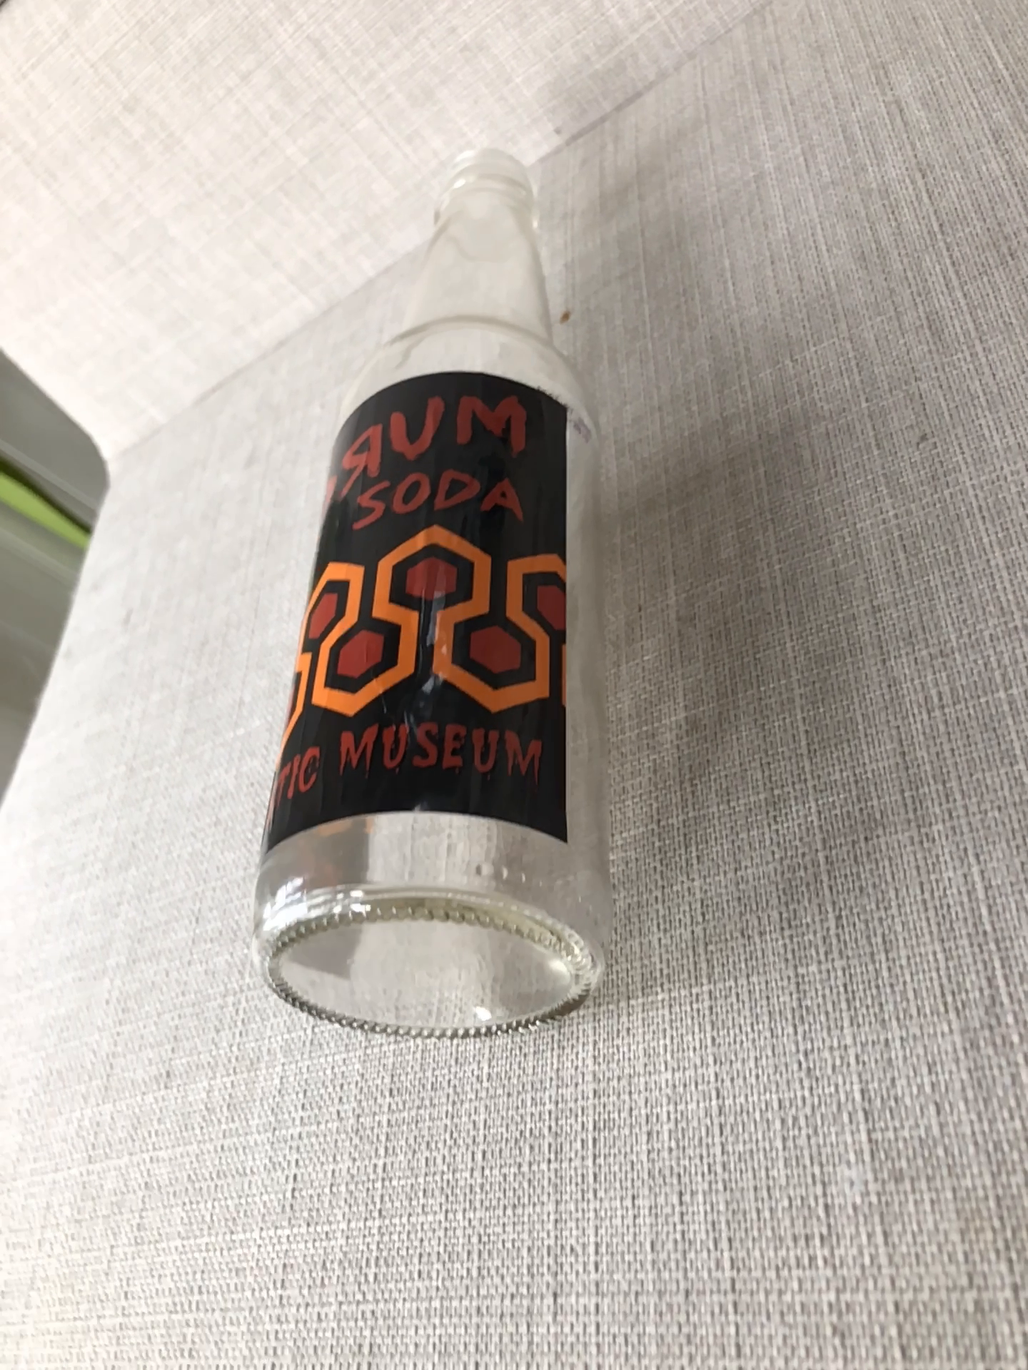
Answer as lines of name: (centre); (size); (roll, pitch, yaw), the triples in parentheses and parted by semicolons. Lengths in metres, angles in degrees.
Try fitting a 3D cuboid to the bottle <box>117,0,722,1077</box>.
bottle: (-0.013, -0.048, 0.245); (0.062, 0.070, 0.232); (-26, 47, 32)
